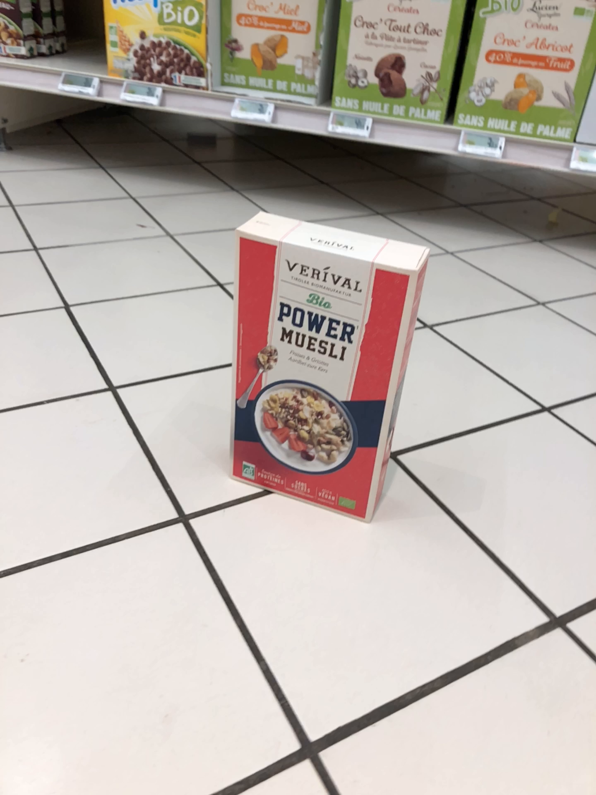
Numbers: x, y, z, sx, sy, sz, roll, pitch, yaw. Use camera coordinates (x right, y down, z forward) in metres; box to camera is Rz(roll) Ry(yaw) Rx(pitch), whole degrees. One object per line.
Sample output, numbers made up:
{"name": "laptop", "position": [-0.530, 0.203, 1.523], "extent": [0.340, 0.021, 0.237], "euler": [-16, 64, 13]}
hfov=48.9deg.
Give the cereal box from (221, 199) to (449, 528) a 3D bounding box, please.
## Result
{"name": "cereal box", "position": [0.018, -0.021, 0.496], "extent": [0.140, 0.219, 0.050], "euler": [16, 34, 16]}
